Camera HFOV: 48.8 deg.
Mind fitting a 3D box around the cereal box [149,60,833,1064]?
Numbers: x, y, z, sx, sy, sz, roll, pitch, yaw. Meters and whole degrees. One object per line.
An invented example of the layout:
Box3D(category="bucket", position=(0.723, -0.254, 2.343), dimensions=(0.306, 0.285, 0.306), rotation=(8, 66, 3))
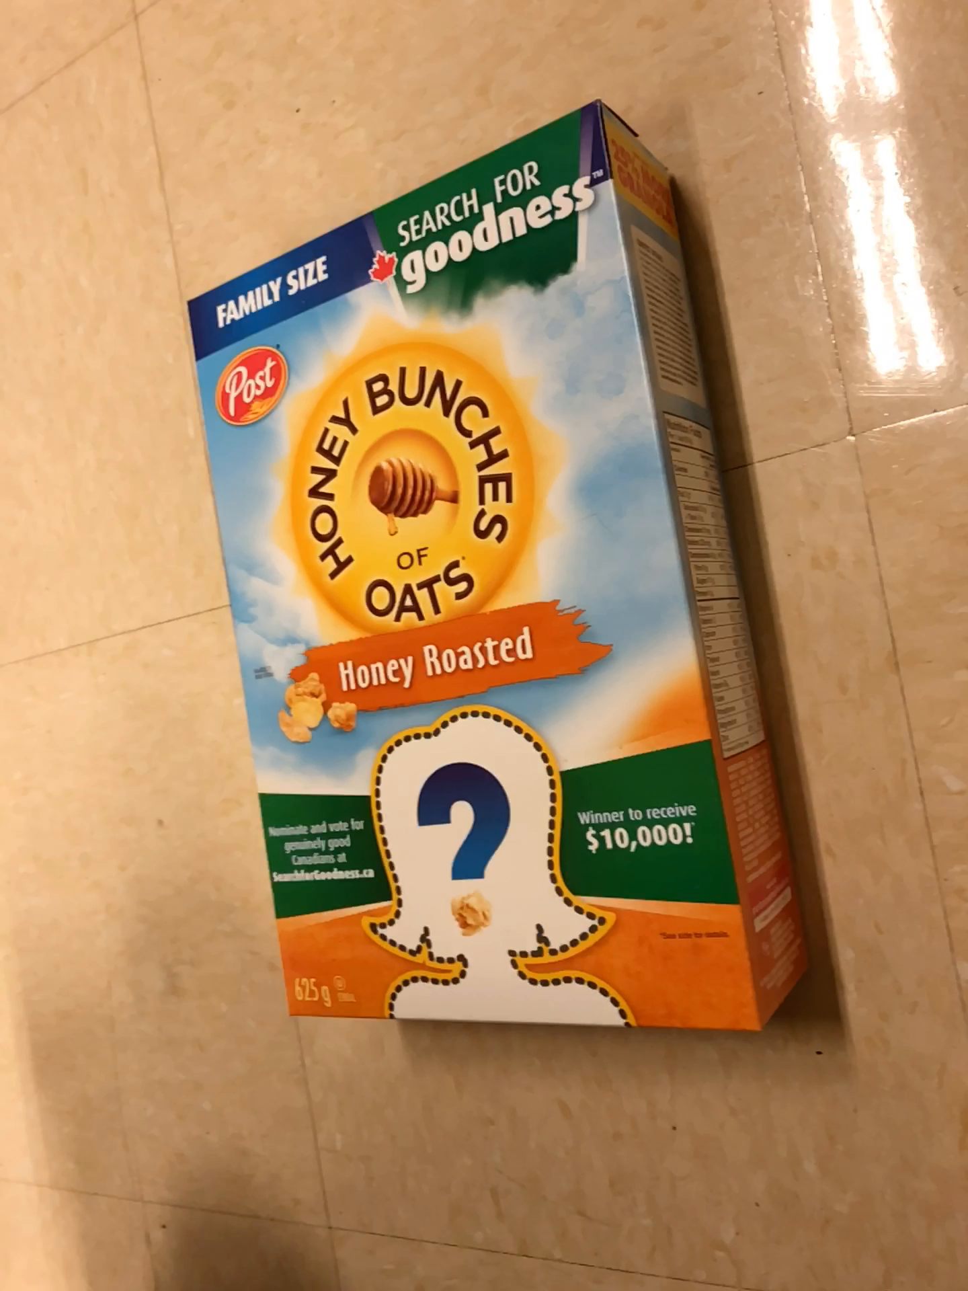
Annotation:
Box3D(category="cereal box", position=(-0.010, -0.014, 0.387), dimensions=(0.211, 0.070, 0.290), rotation=(-10, 83, 32))
